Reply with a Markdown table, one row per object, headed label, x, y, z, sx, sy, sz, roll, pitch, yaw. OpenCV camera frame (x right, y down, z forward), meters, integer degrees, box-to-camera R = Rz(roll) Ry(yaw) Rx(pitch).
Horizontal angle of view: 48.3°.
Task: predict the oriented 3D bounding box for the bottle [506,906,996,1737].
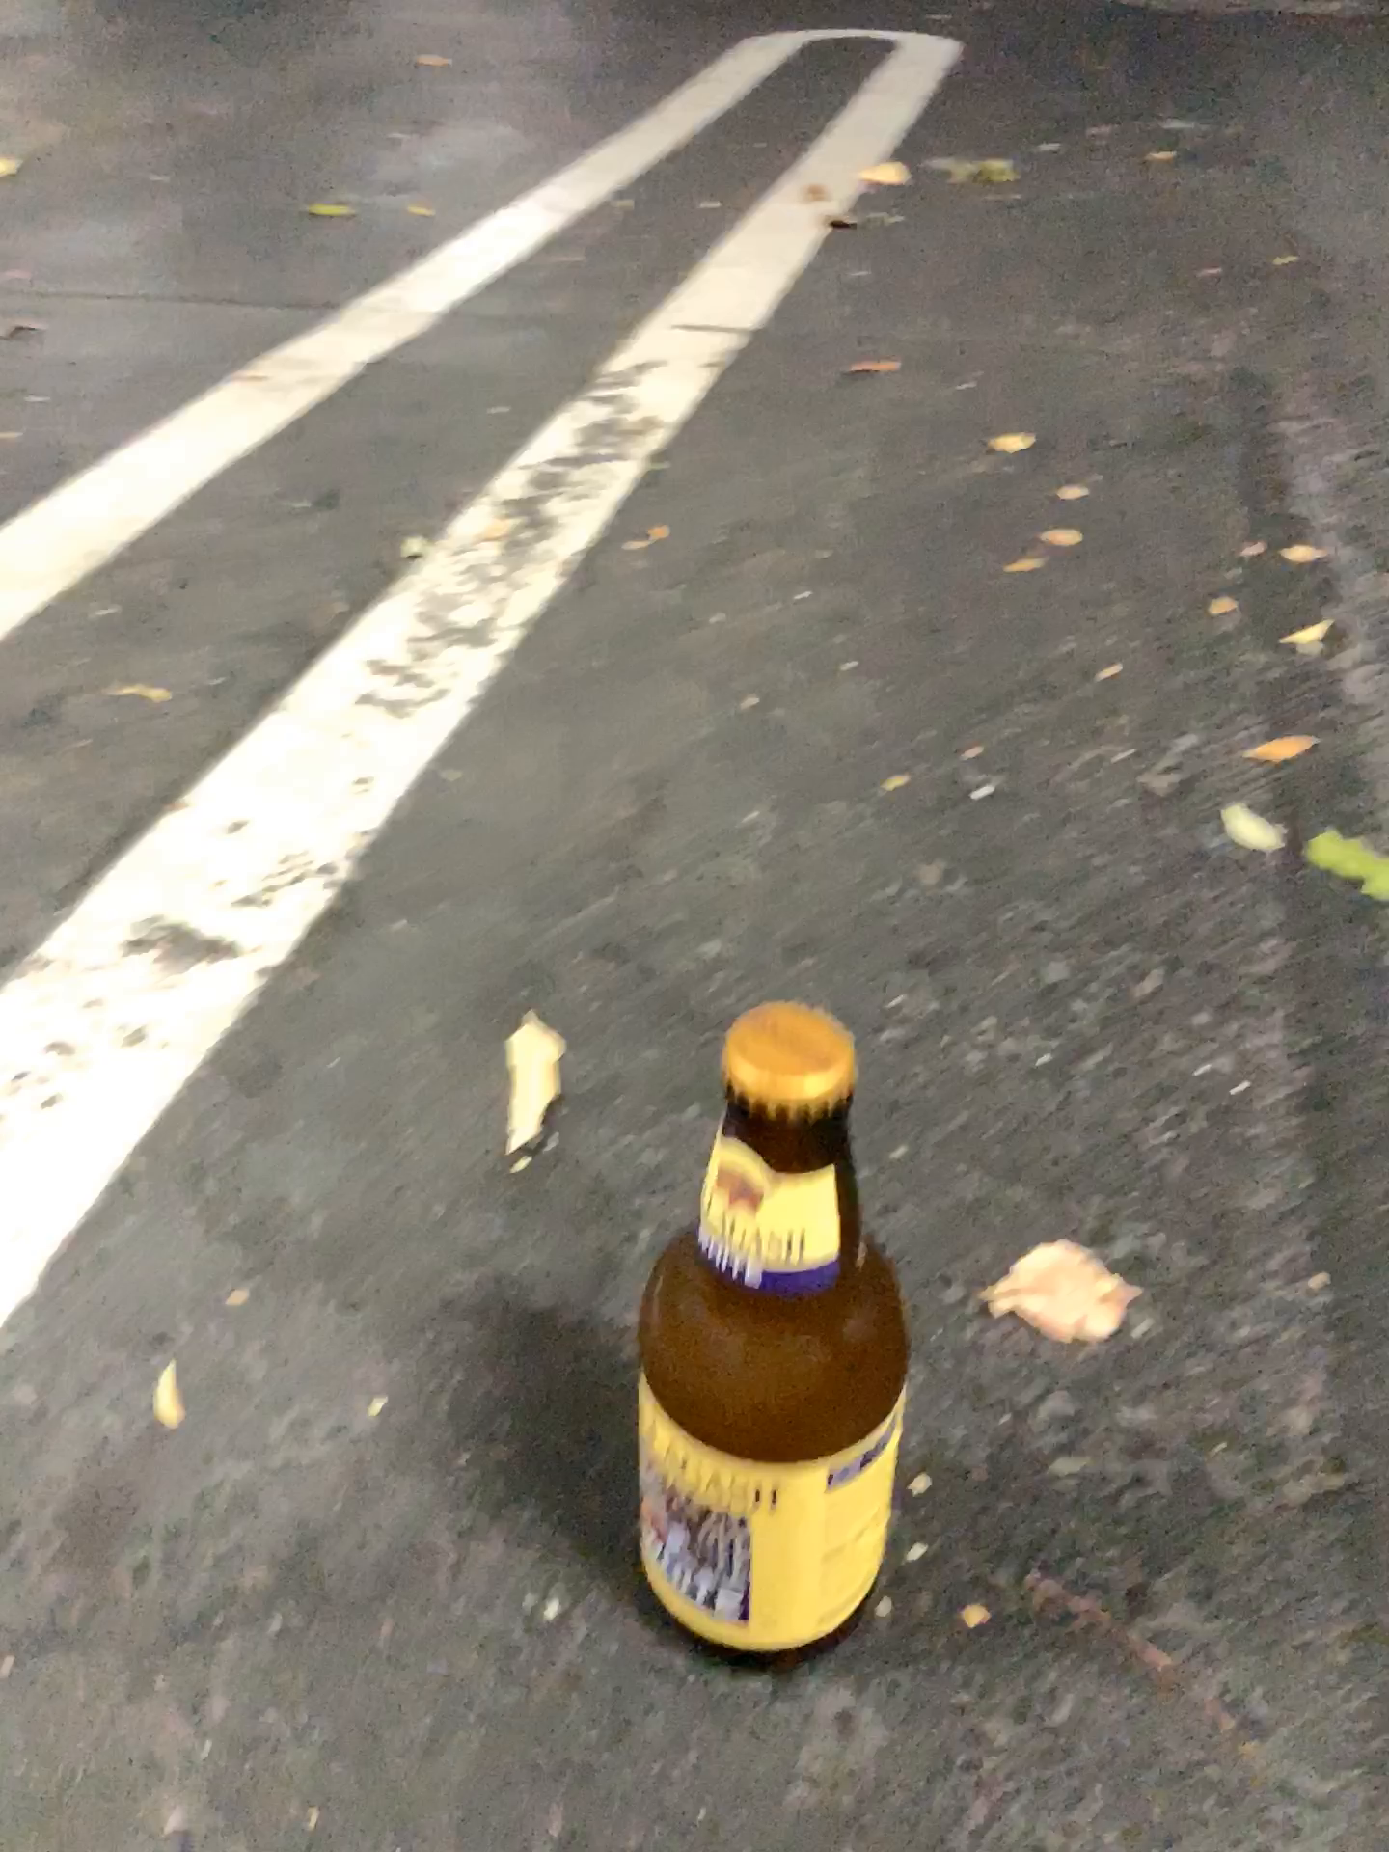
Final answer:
| label | x | y | z | sx | sy | sz | roll | pitch | yaw |
| --- | --- | --- | --- | --- | --- | --- | --- | --- | --- |
| bottle | 0.014 | 0.100 | 0.372 | 0.070 | 0.190 | 0.070 | -1 | 39 | 1 |
